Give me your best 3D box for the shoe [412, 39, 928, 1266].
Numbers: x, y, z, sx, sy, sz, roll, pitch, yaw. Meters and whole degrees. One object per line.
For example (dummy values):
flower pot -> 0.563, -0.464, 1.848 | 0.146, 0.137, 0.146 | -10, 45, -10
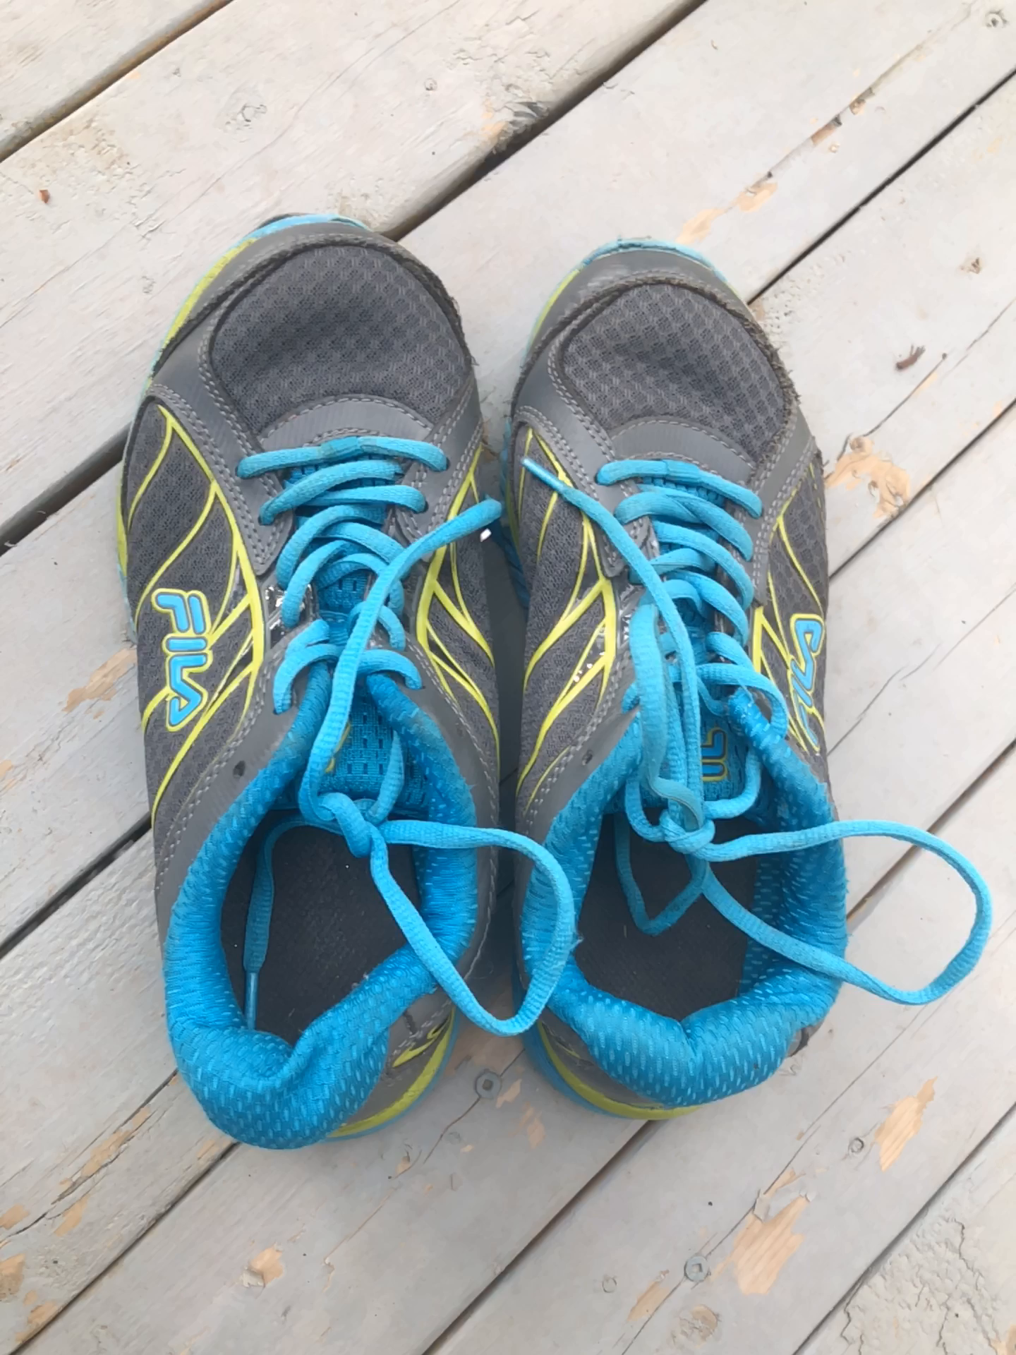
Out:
shoe -> 0.038, -0.006, 0.306 | 0.110, 0.090, 0.280 | 3, 86, -6

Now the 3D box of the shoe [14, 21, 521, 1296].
shoe -> -0.064, -0.007, 0.326 | 0.110, 0.130, 0.290 | -2, 87, -7
